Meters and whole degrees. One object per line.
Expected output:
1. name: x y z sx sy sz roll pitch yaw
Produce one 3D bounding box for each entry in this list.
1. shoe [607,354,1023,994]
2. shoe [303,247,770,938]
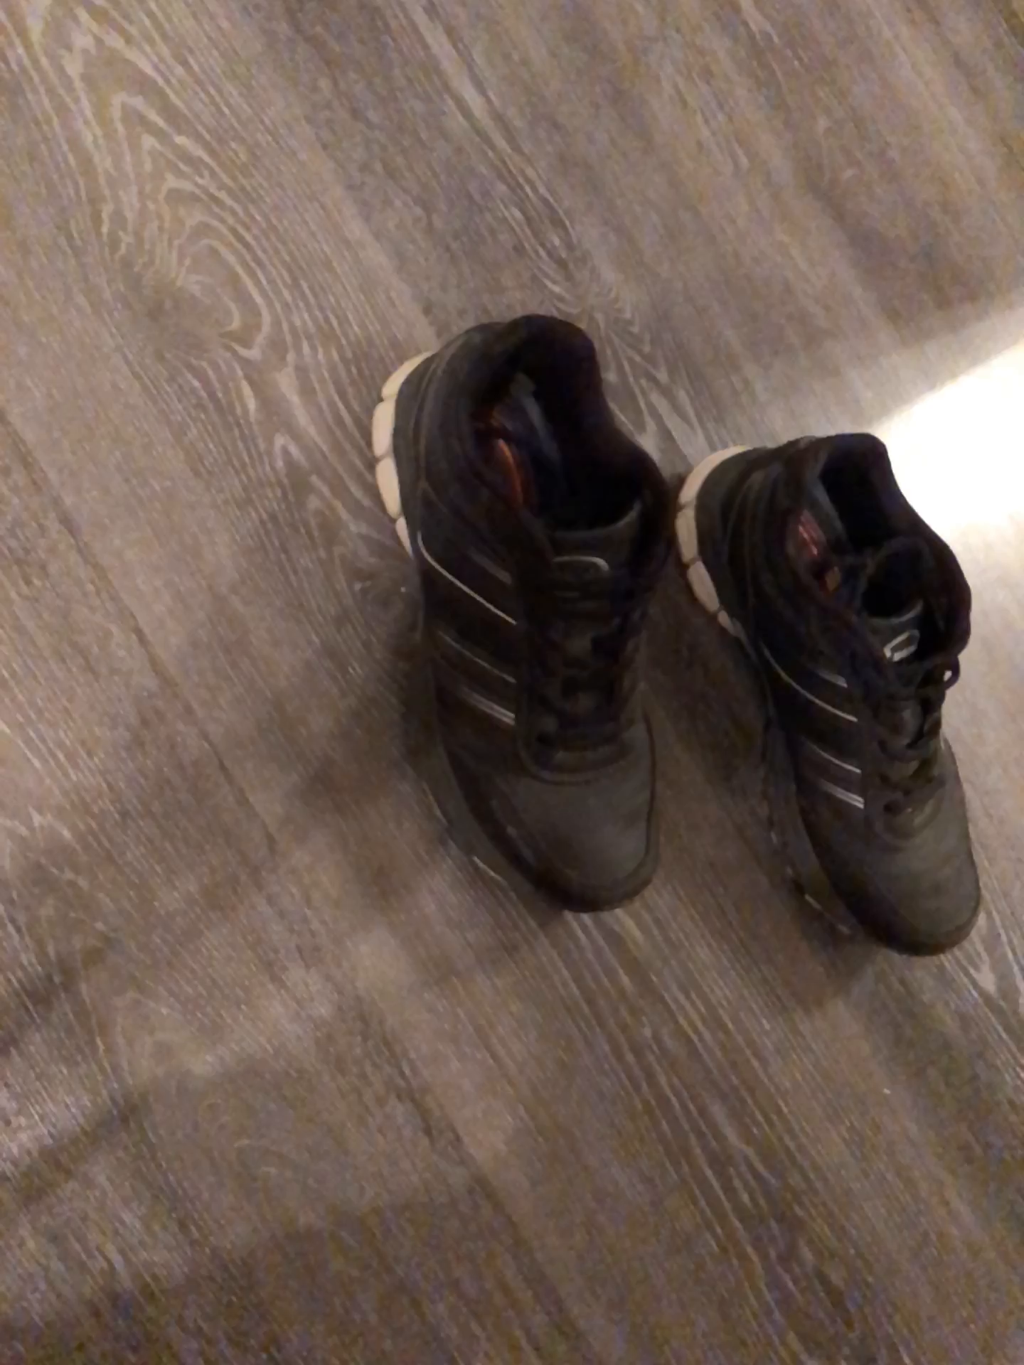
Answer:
1. shoe: 0.160 -0.002 0.533 0.110 0.100 0.260 -20 87 -23
2. shoe: 0.003 -0.034 0.461 0.100 0.090 0.250 -14 85 -22
